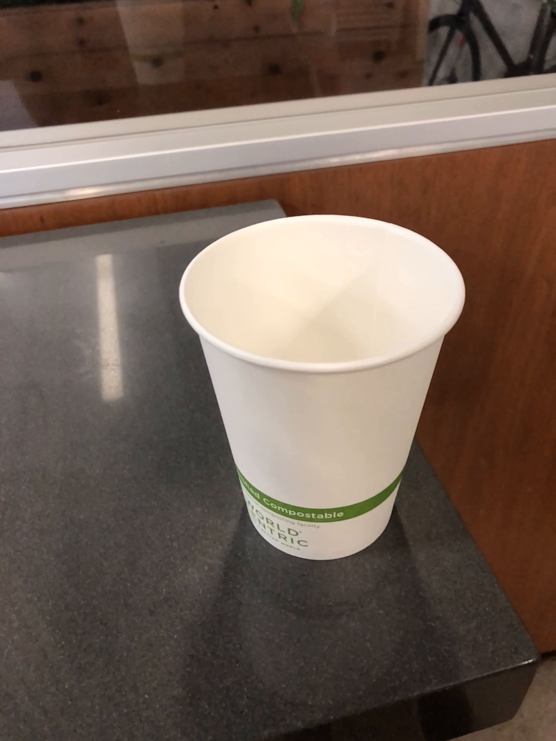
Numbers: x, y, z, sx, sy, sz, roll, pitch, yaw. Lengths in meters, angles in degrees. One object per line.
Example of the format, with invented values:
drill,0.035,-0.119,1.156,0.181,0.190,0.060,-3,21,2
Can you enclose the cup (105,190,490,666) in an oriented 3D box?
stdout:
cup,0.012,0.017,0.221,0.080,0.119,0.090,18,43,24
